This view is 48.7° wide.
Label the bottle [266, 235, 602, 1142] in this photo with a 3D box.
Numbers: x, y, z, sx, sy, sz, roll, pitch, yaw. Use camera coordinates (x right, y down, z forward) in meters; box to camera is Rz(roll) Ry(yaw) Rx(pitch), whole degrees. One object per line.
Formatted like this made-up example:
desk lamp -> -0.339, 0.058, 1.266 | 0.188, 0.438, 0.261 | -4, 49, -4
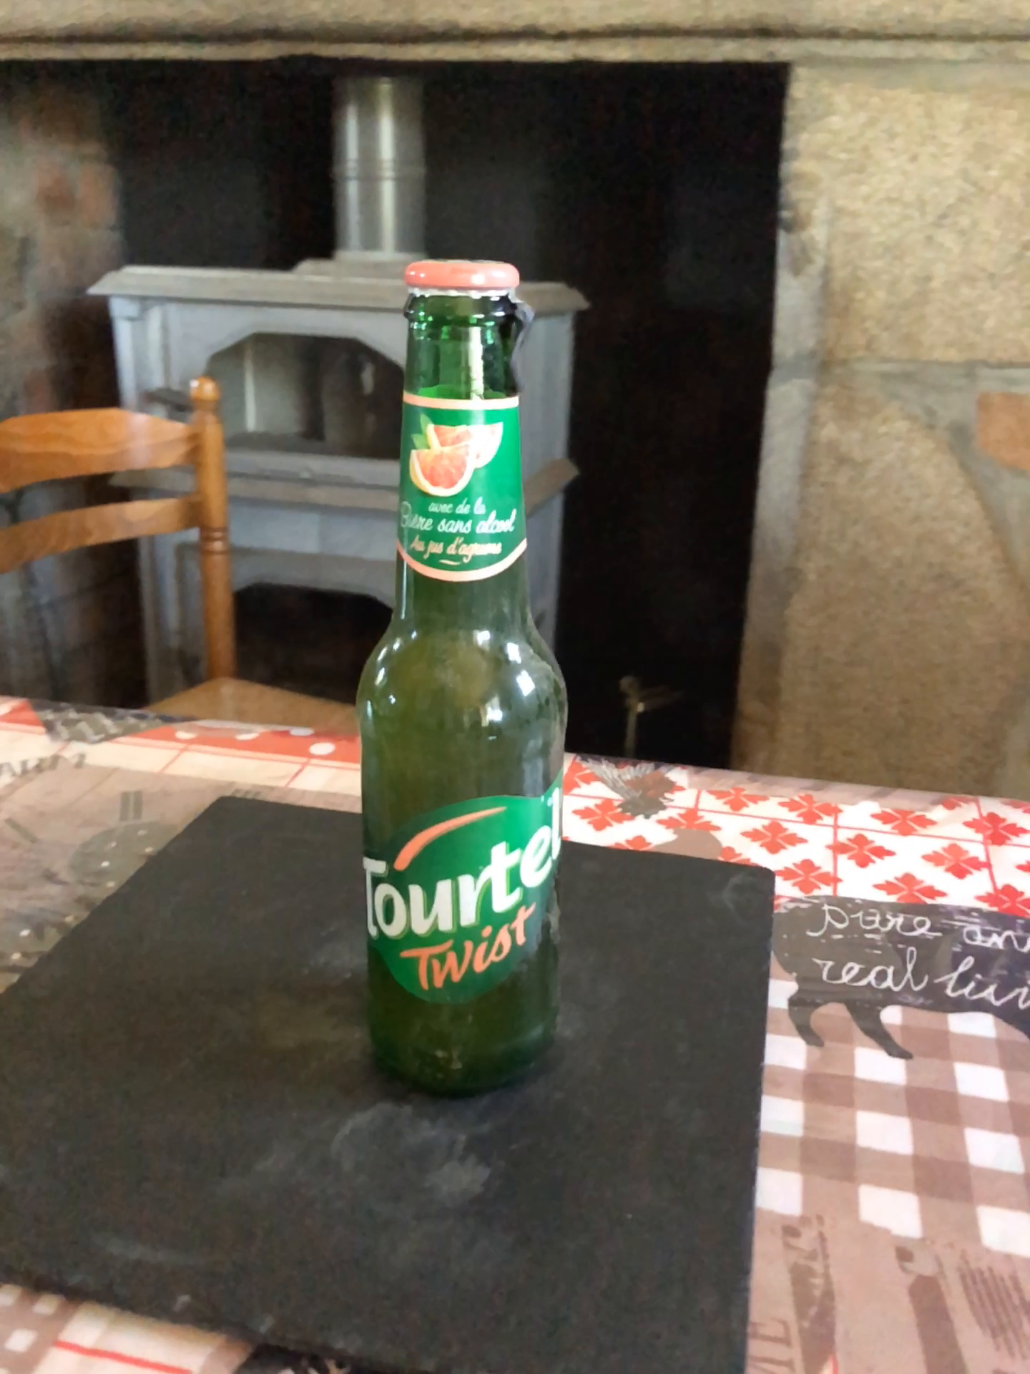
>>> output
bottle -> -0.019, 0.005, 0.302 | 0.070, 0.229, 0.060 | 2, 19, 1
